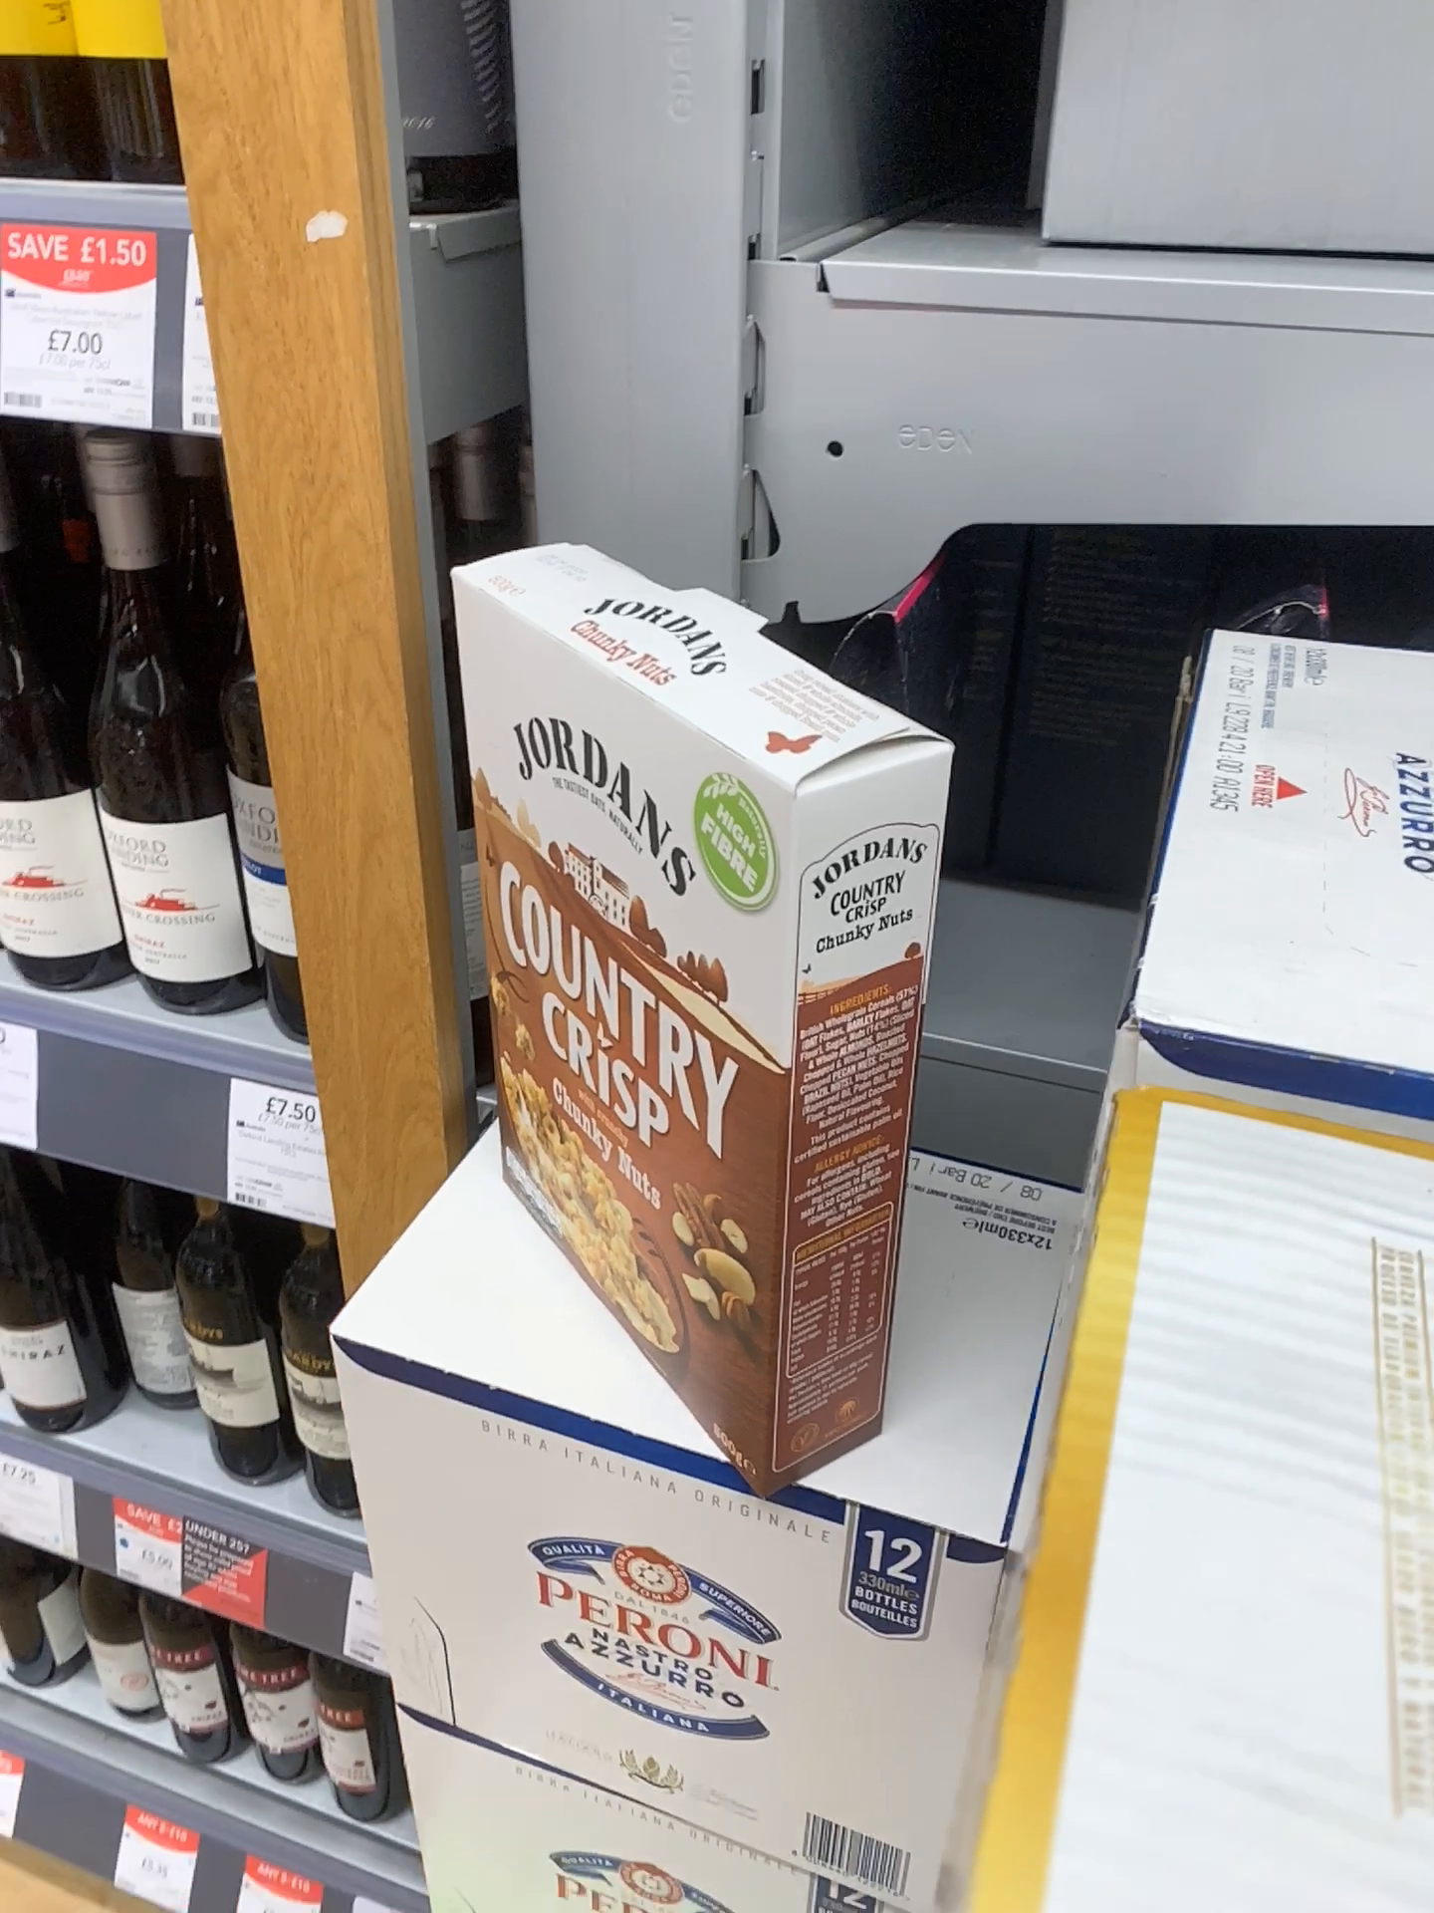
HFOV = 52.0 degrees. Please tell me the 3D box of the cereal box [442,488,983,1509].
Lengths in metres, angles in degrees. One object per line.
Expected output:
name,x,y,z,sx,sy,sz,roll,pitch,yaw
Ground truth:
cereal box,-0.013,0.009,0.463,0.050,0.257,0.191,-18,37,-28
